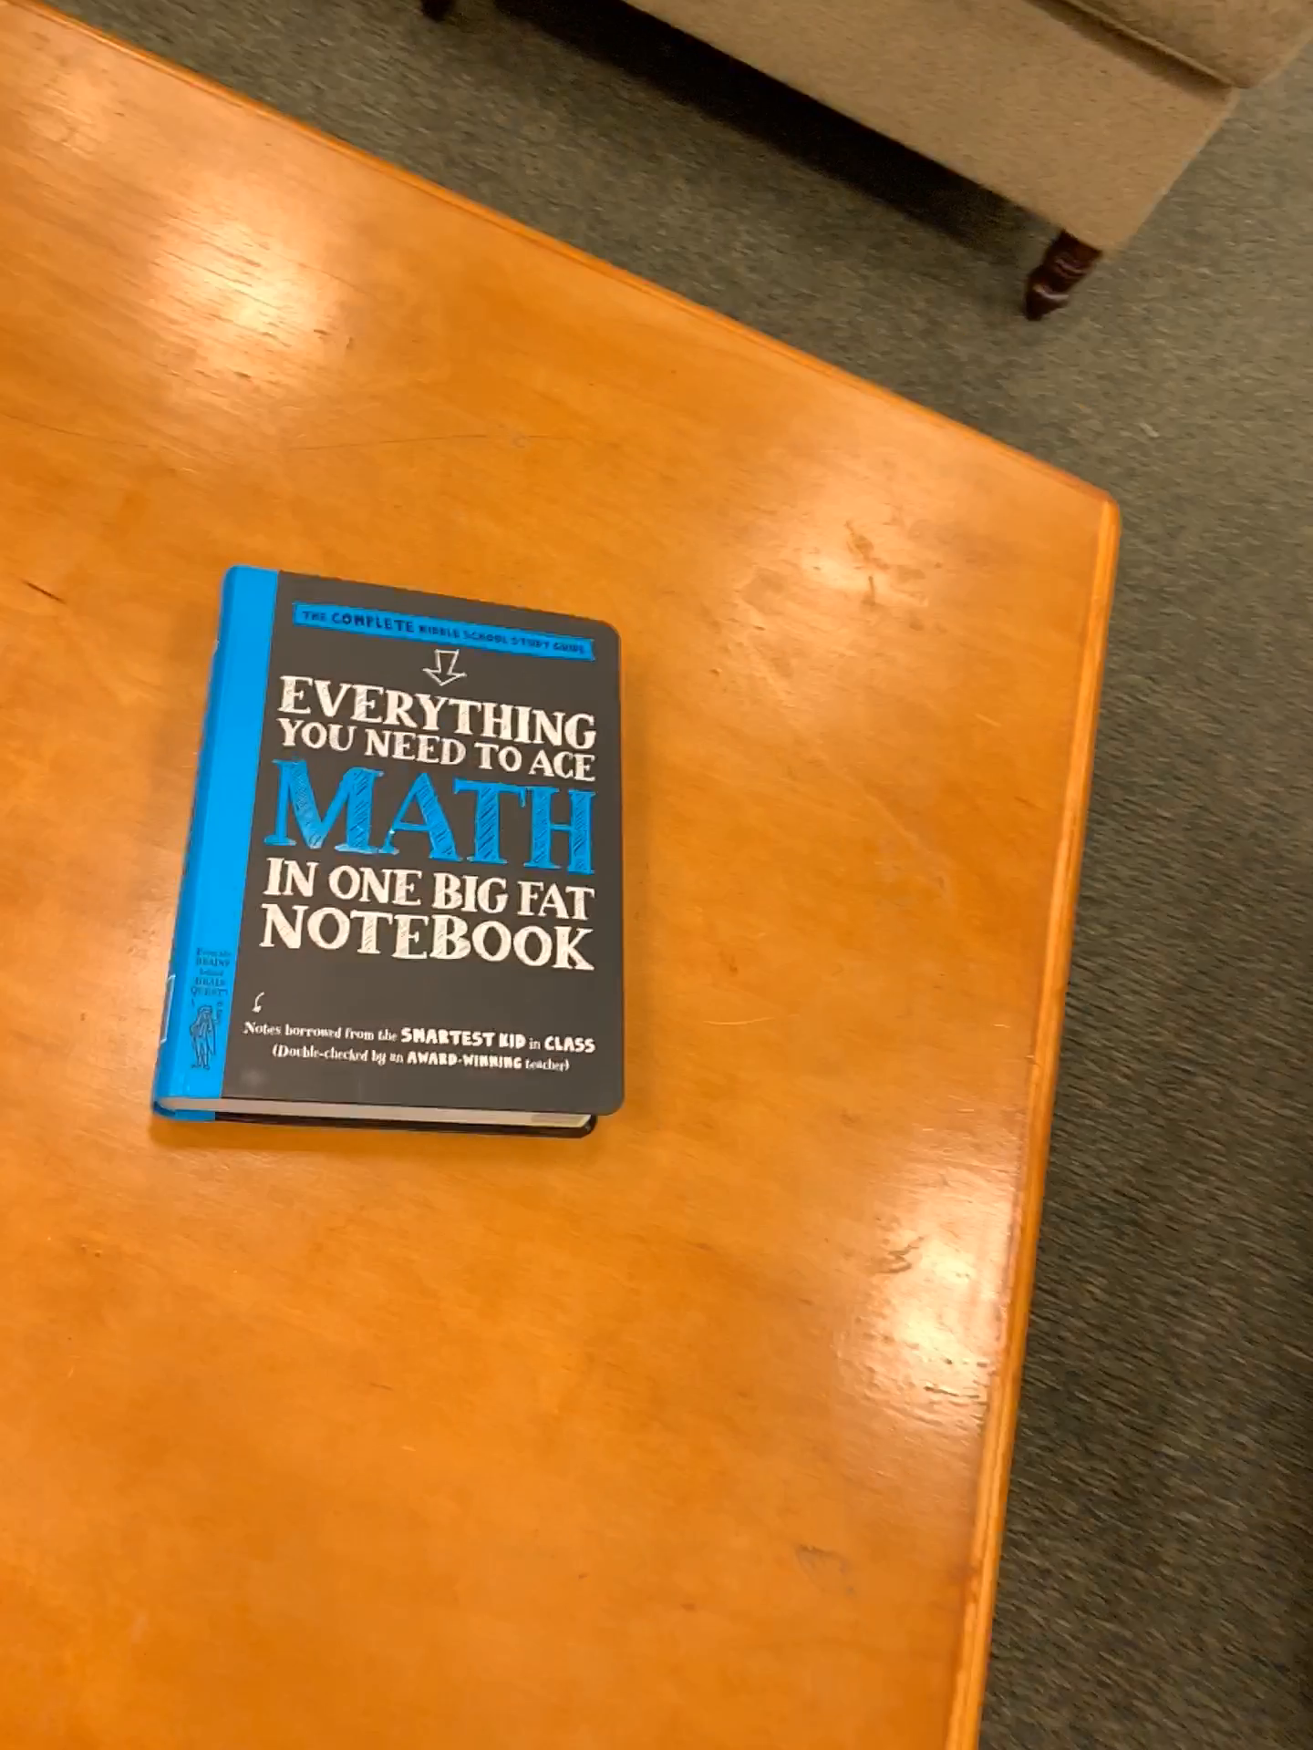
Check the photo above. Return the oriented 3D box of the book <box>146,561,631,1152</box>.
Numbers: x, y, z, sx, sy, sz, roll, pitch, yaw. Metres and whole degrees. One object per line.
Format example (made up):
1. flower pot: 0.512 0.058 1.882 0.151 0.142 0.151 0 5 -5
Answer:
1. book: -0.093 -0.008 0.509 0.160 0.040 0.211 6 65 -16
